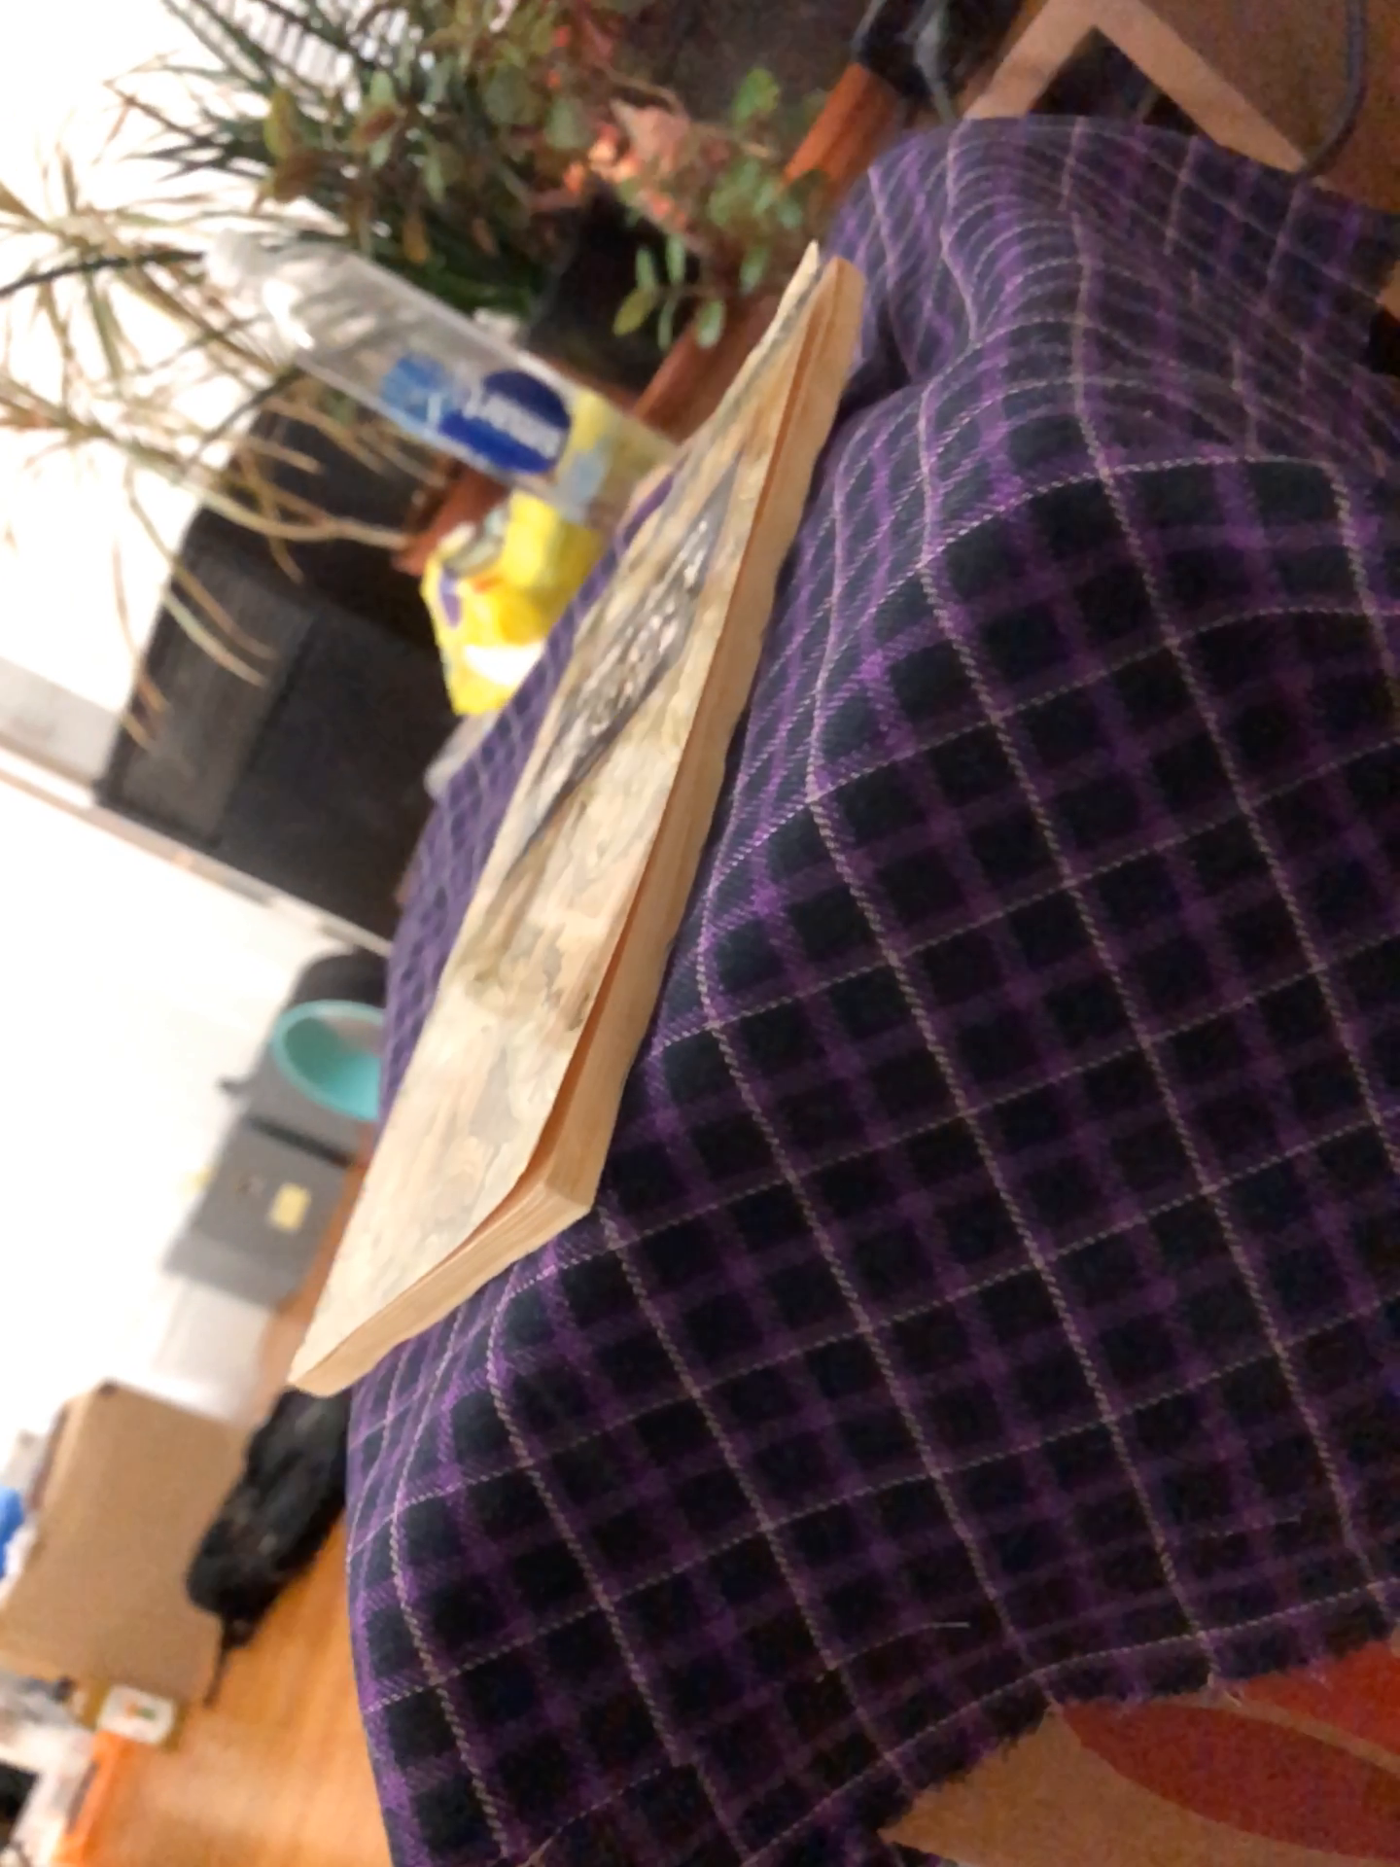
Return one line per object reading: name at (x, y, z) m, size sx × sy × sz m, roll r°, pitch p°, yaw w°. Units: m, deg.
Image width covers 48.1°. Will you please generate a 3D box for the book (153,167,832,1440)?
book at (-0.037, -0.026, 0.292) m, size 0.140 × 0.010 × 0.220 m, roll -42°, pitch 26°, yaw 51°
